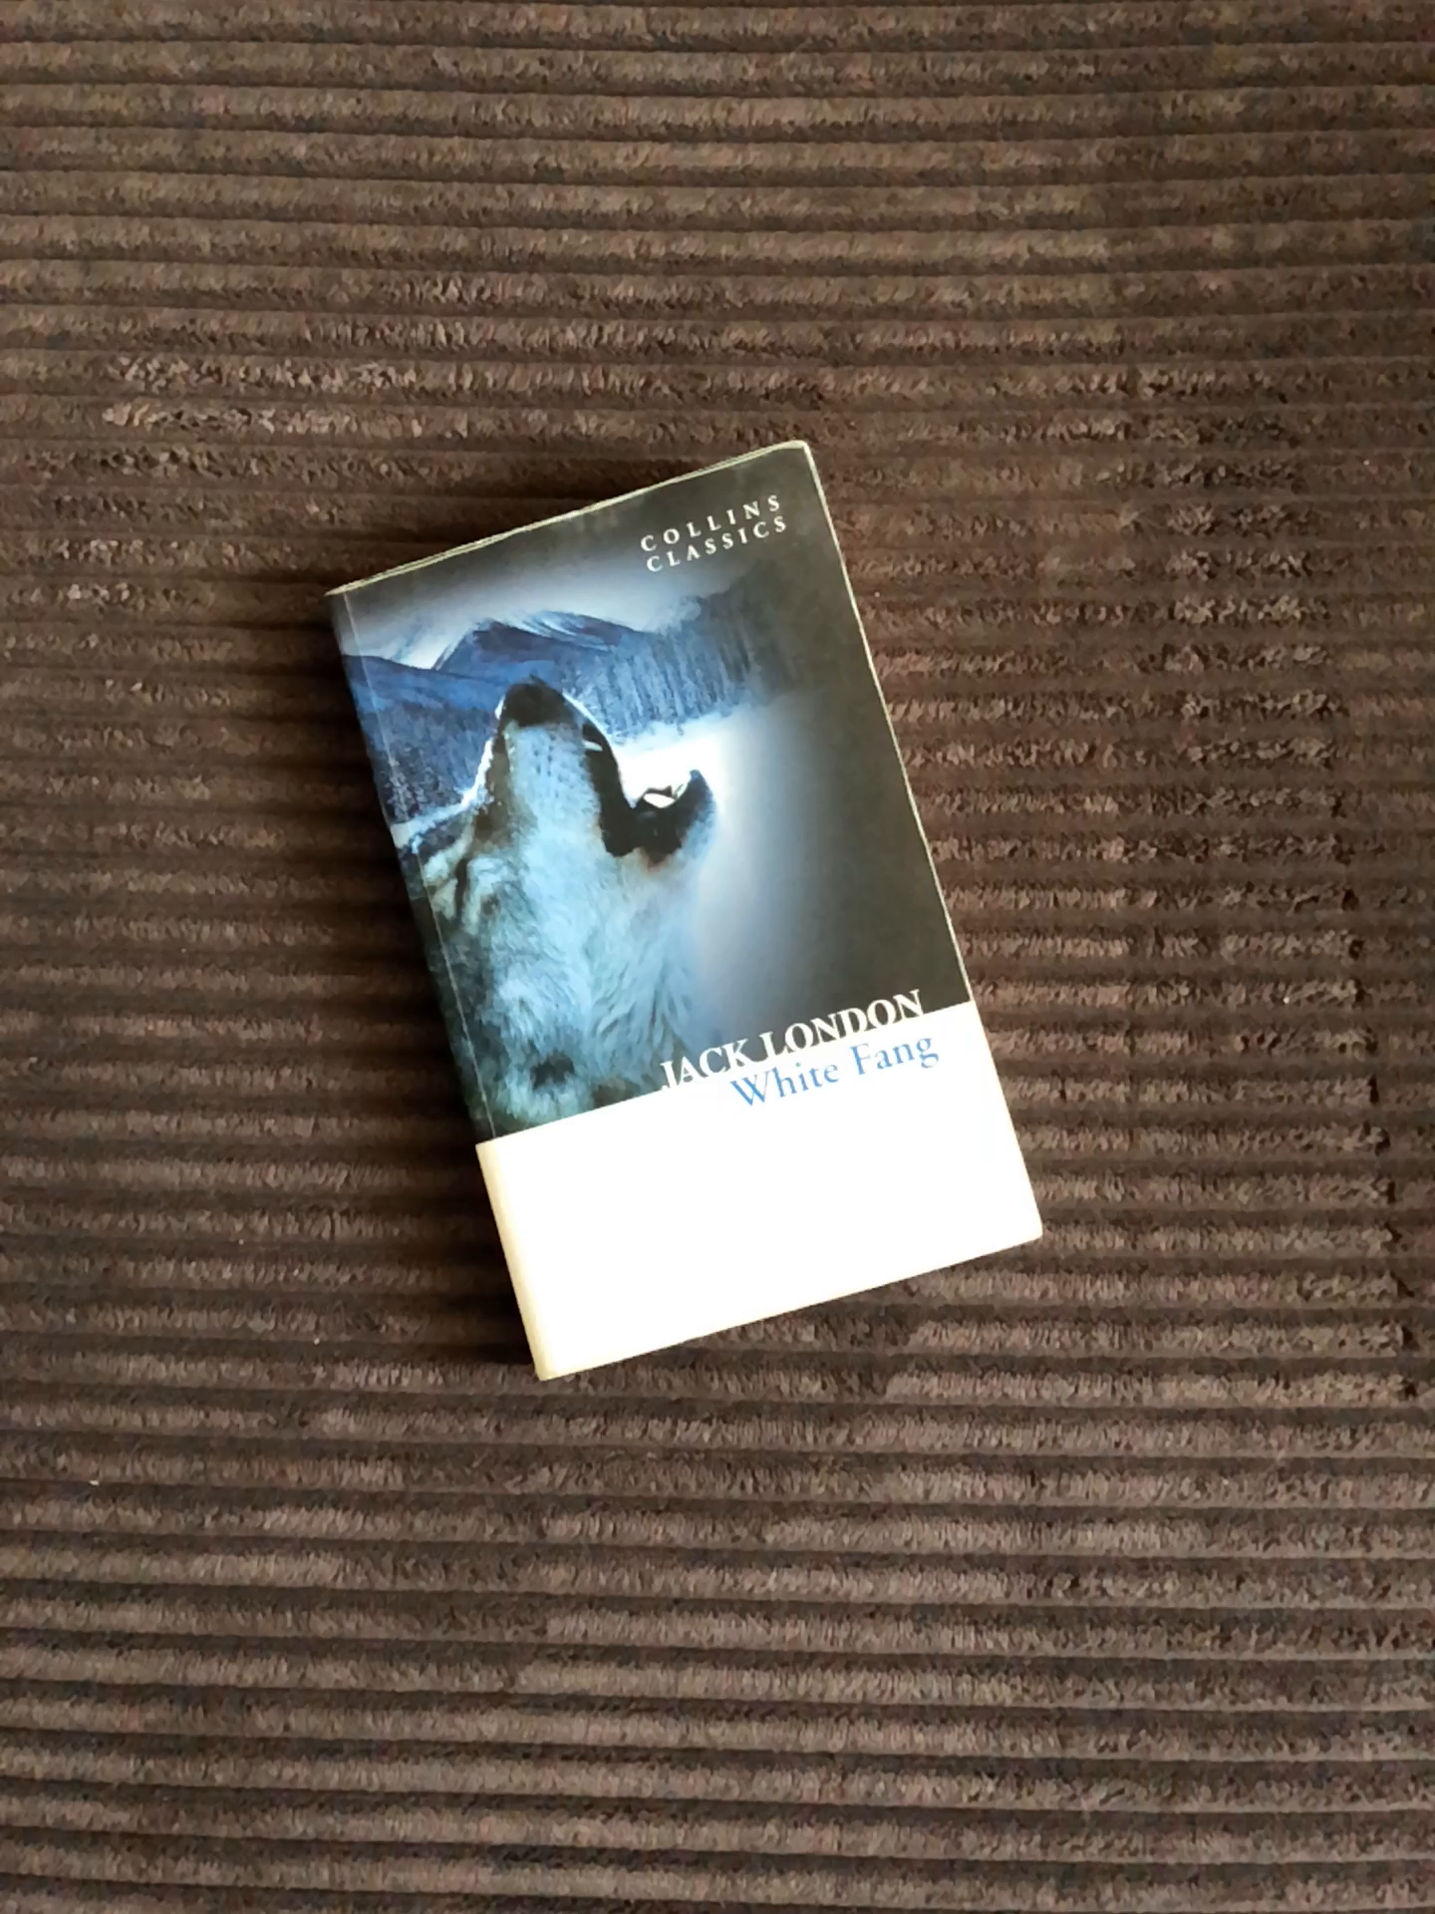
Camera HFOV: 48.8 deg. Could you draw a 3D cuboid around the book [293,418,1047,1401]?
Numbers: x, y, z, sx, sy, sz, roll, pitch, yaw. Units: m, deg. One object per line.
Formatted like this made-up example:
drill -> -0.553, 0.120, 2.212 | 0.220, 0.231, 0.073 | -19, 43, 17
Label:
book -> -0.010, -0.008, 0.340 | 0.114, 0.030, 0.178 | -15, 89, 7
